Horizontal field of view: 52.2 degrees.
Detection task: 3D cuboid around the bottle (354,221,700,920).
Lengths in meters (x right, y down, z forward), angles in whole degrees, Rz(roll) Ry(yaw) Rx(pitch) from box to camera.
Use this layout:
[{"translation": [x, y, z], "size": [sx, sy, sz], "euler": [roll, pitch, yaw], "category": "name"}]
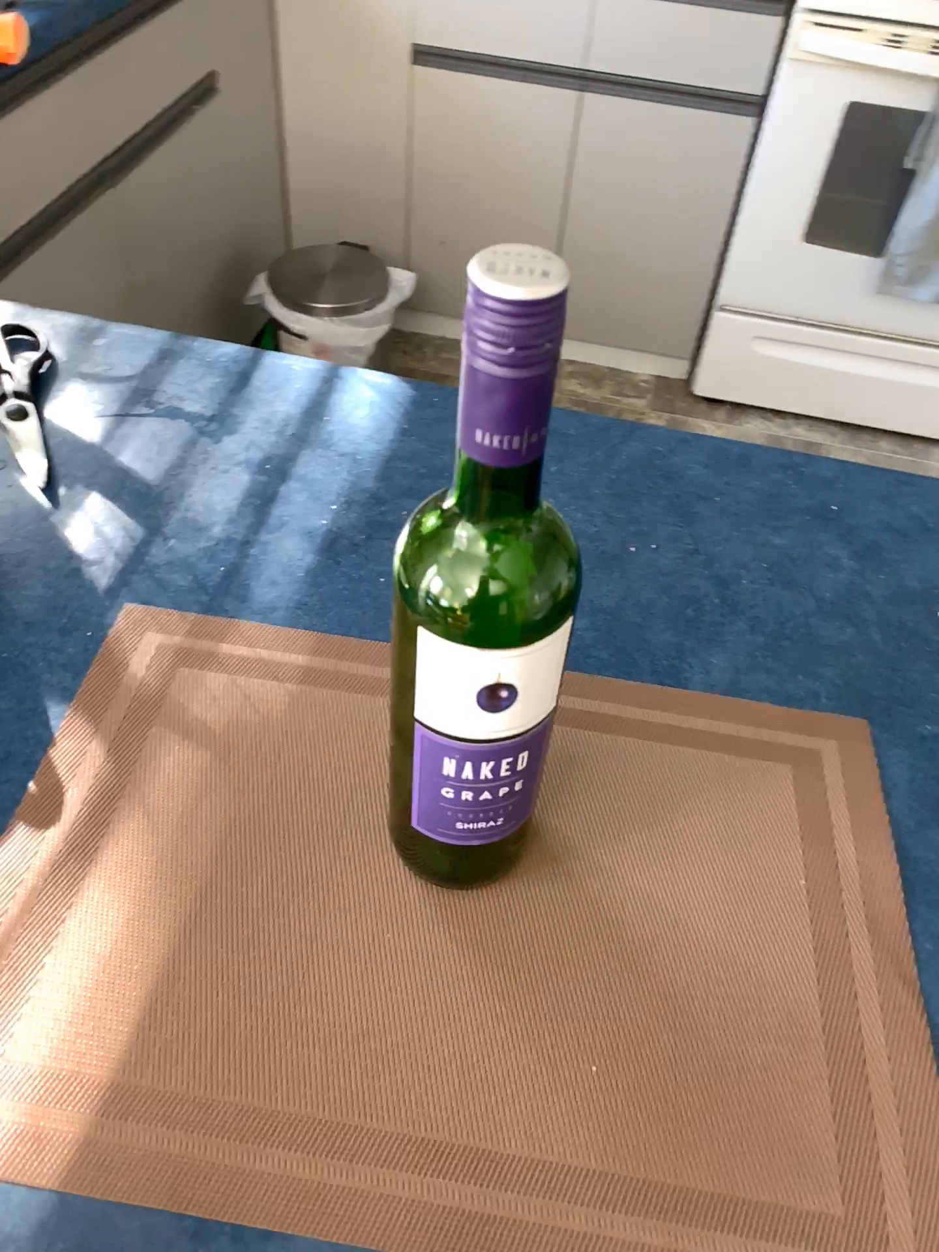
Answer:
[{"translation": [0.003, 0.005, 0.370], "size": [0.080, 0.288, 0.081], "euler": [3, 47, -3], "category": "bottle"}]
